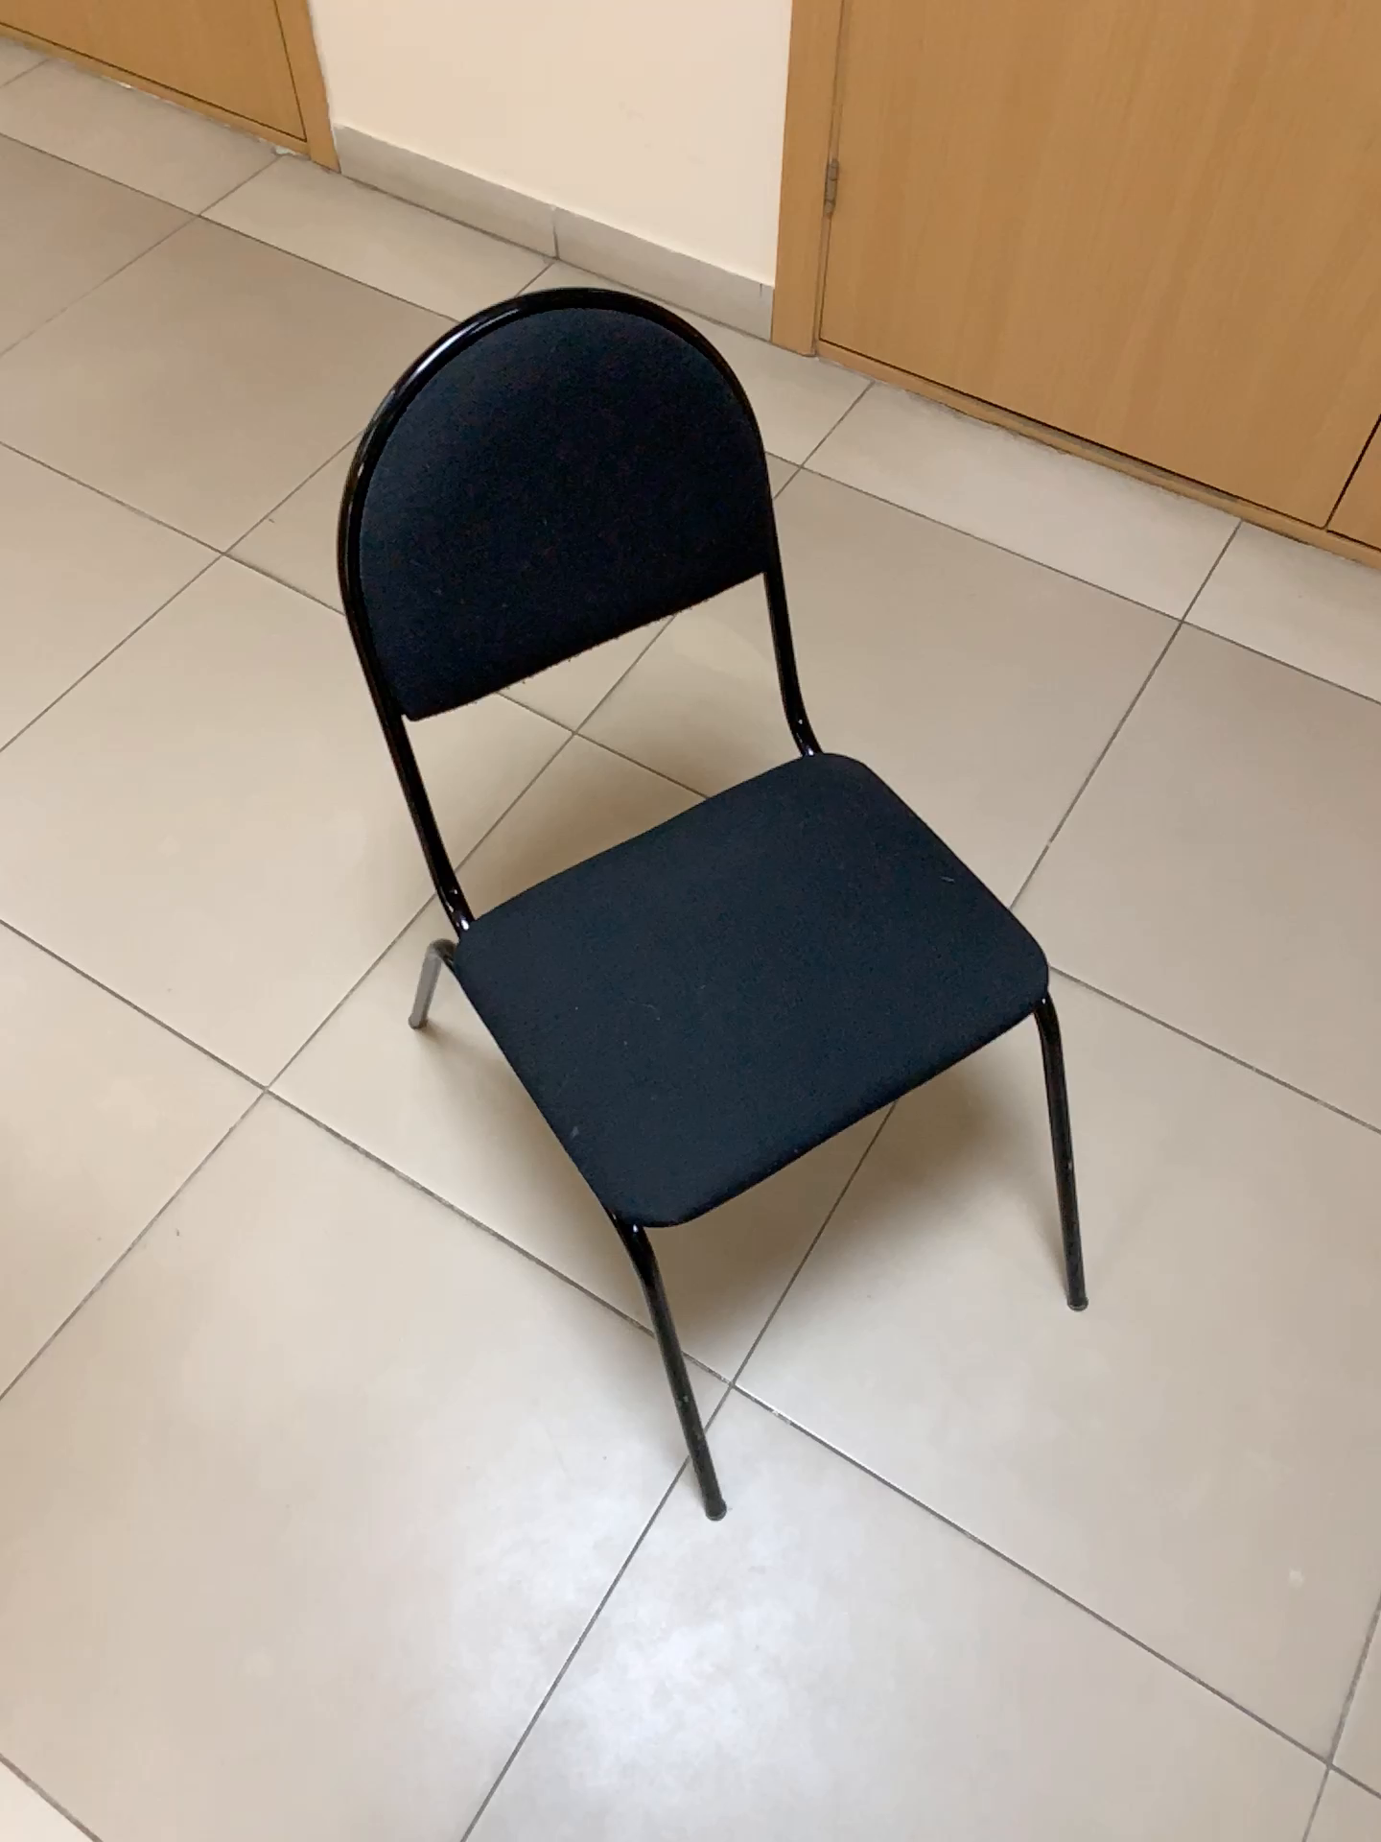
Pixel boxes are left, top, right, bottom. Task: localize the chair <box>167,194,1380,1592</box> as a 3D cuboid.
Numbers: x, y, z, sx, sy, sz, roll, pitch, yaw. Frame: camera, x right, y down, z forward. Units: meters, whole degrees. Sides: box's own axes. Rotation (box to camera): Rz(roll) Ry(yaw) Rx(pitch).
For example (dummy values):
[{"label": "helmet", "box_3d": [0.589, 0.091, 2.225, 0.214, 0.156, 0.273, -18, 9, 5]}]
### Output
[{"label": "chair", "box_3d": [0.047, 0.020, 1.138, 0.481, 0.775, 0.693, -28, 61, -18]}]
